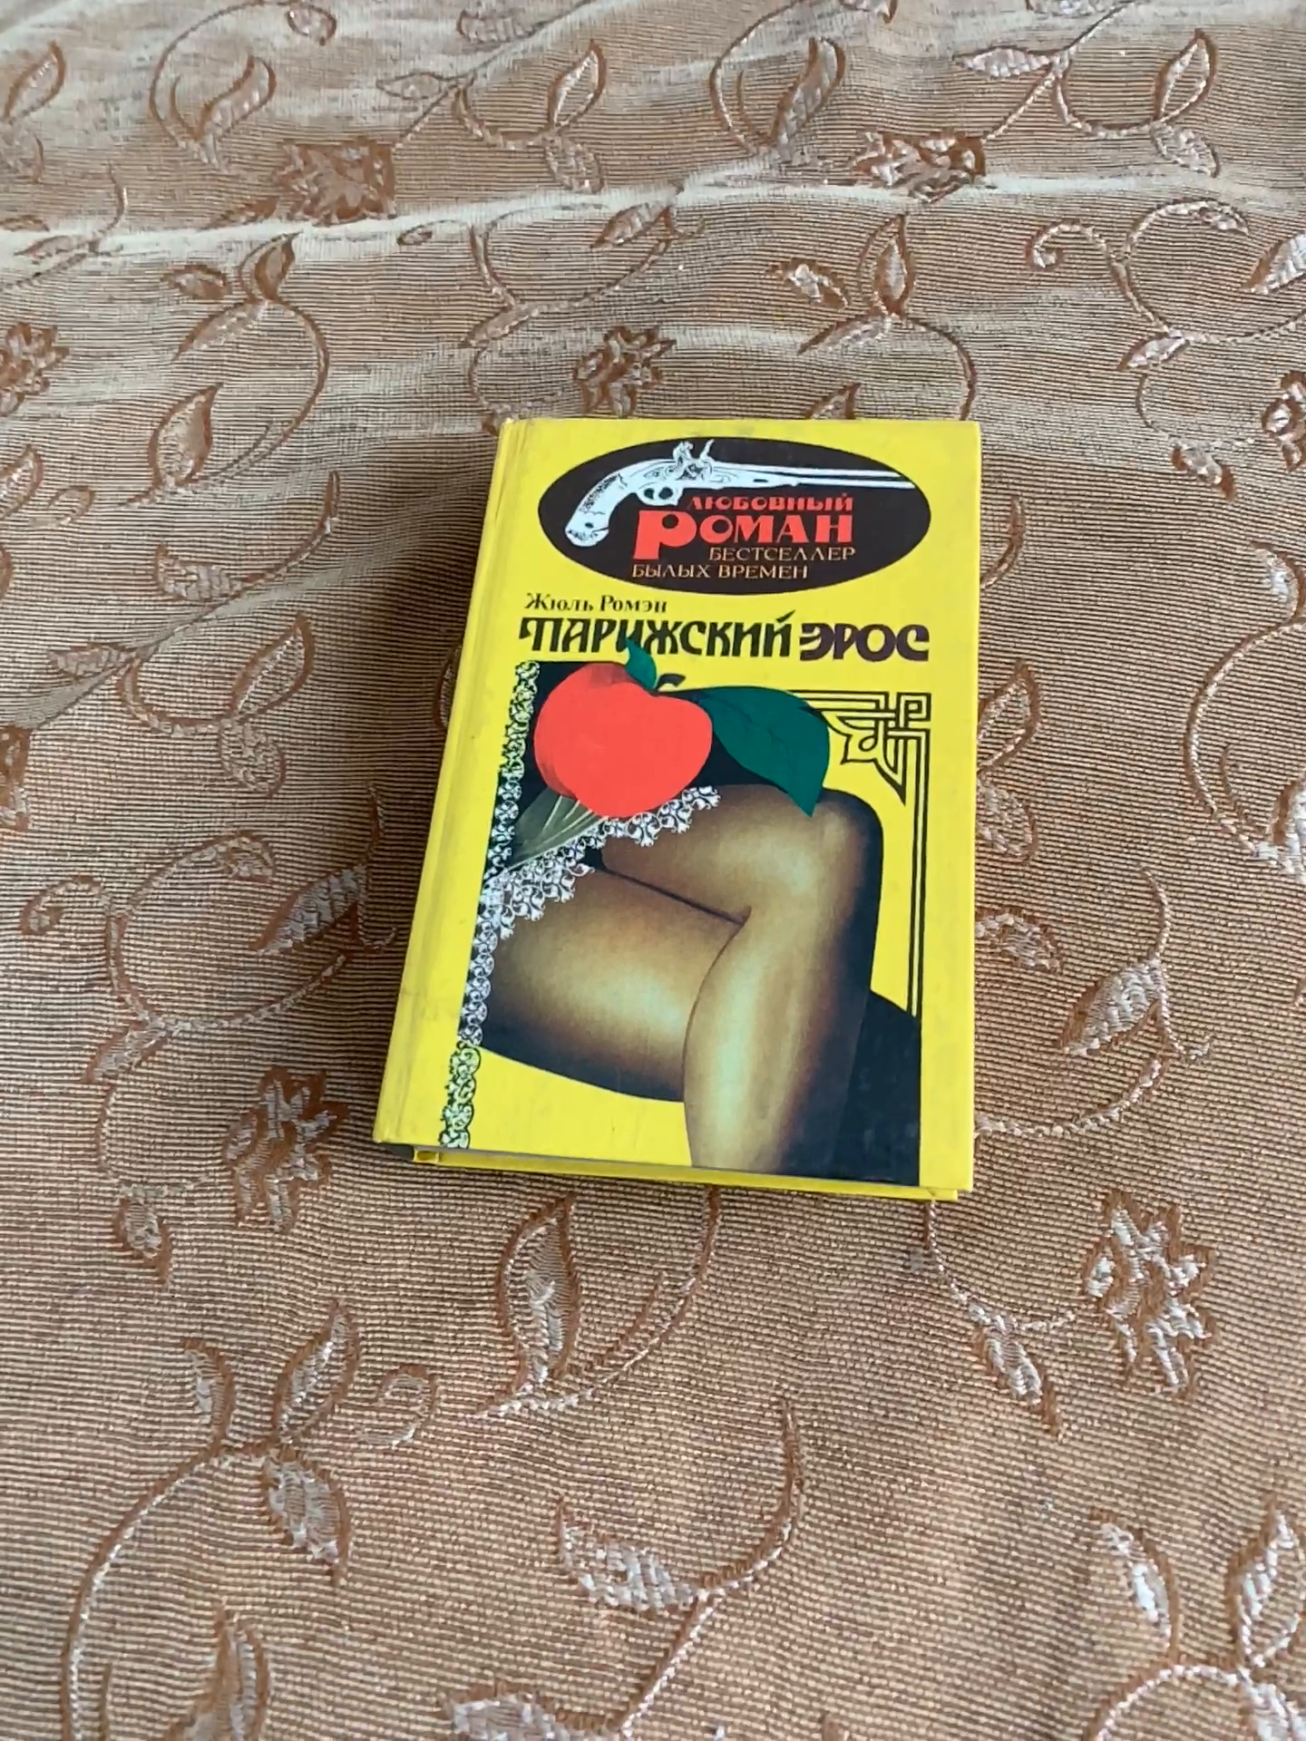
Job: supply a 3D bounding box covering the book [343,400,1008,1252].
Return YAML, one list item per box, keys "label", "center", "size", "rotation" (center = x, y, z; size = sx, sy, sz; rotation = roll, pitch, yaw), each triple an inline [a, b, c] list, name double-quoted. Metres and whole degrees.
- label: "book"
  center: [0.013, -0.019, 0.316]
  size: [0.130, 0.040, 0.197]
  rotation: [3, 67, 7]
